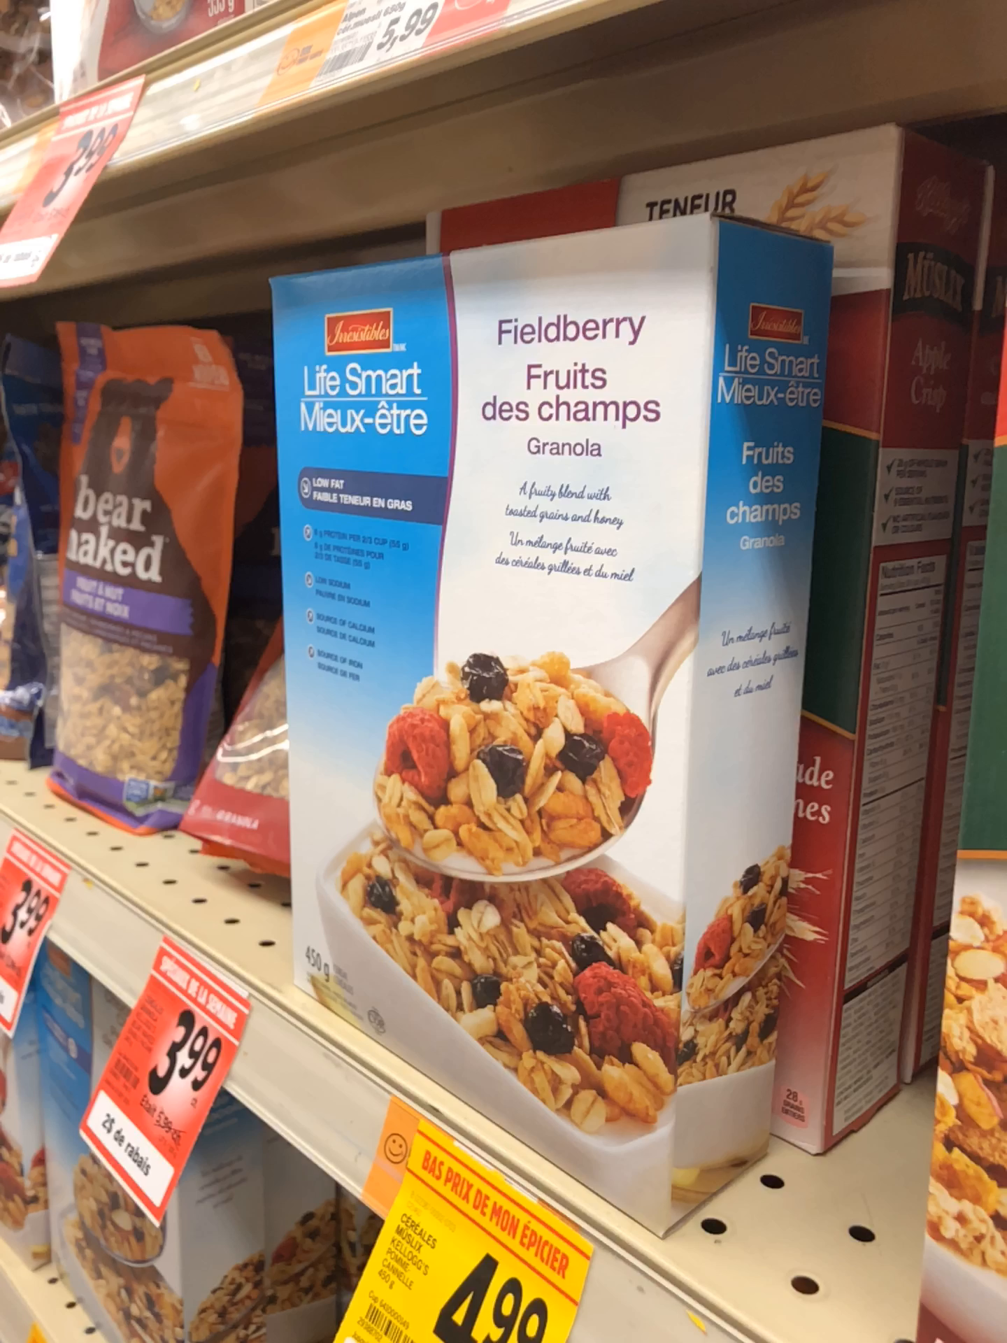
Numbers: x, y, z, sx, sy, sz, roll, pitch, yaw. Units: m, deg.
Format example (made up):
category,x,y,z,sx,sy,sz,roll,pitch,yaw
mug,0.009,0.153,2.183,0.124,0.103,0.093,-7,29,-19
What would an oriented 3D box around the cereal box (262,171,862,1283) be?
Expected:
category,x,y,z,sx,sy,sz,roll,pitch,yaw
cereal box,0.001,0.005,0.312,0.050,0.239,0.170,-9,16,-40
